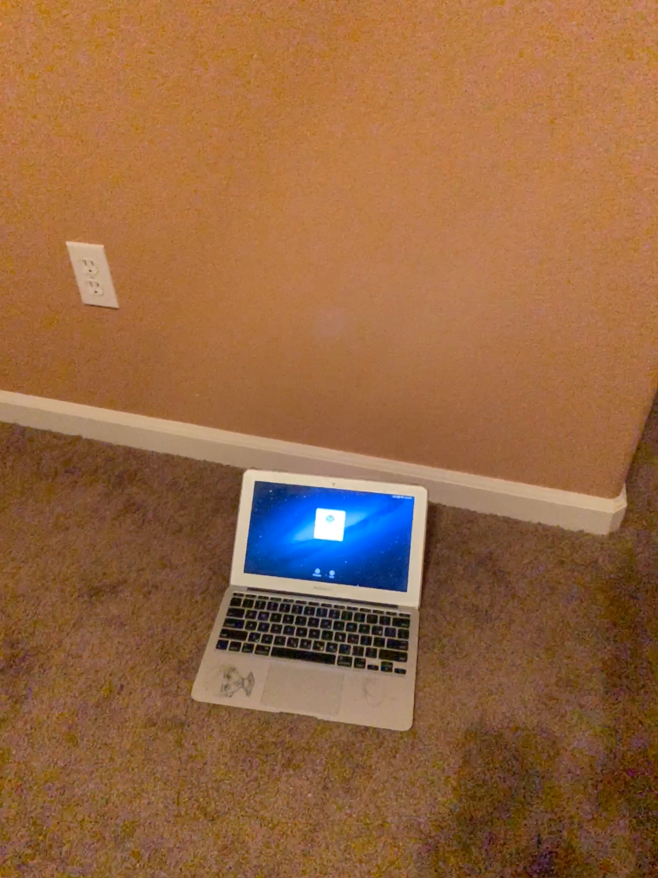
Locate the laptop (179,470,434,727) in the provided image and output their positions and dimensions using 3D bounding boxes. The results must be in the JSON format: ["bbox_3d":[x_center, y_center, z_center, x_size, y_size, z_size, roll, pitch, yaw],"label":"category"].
[{"bbox_3d":[-0.010,0.209,0.976,0.298,0.116,0.326,5,40,7],"label":"laptop"}]
